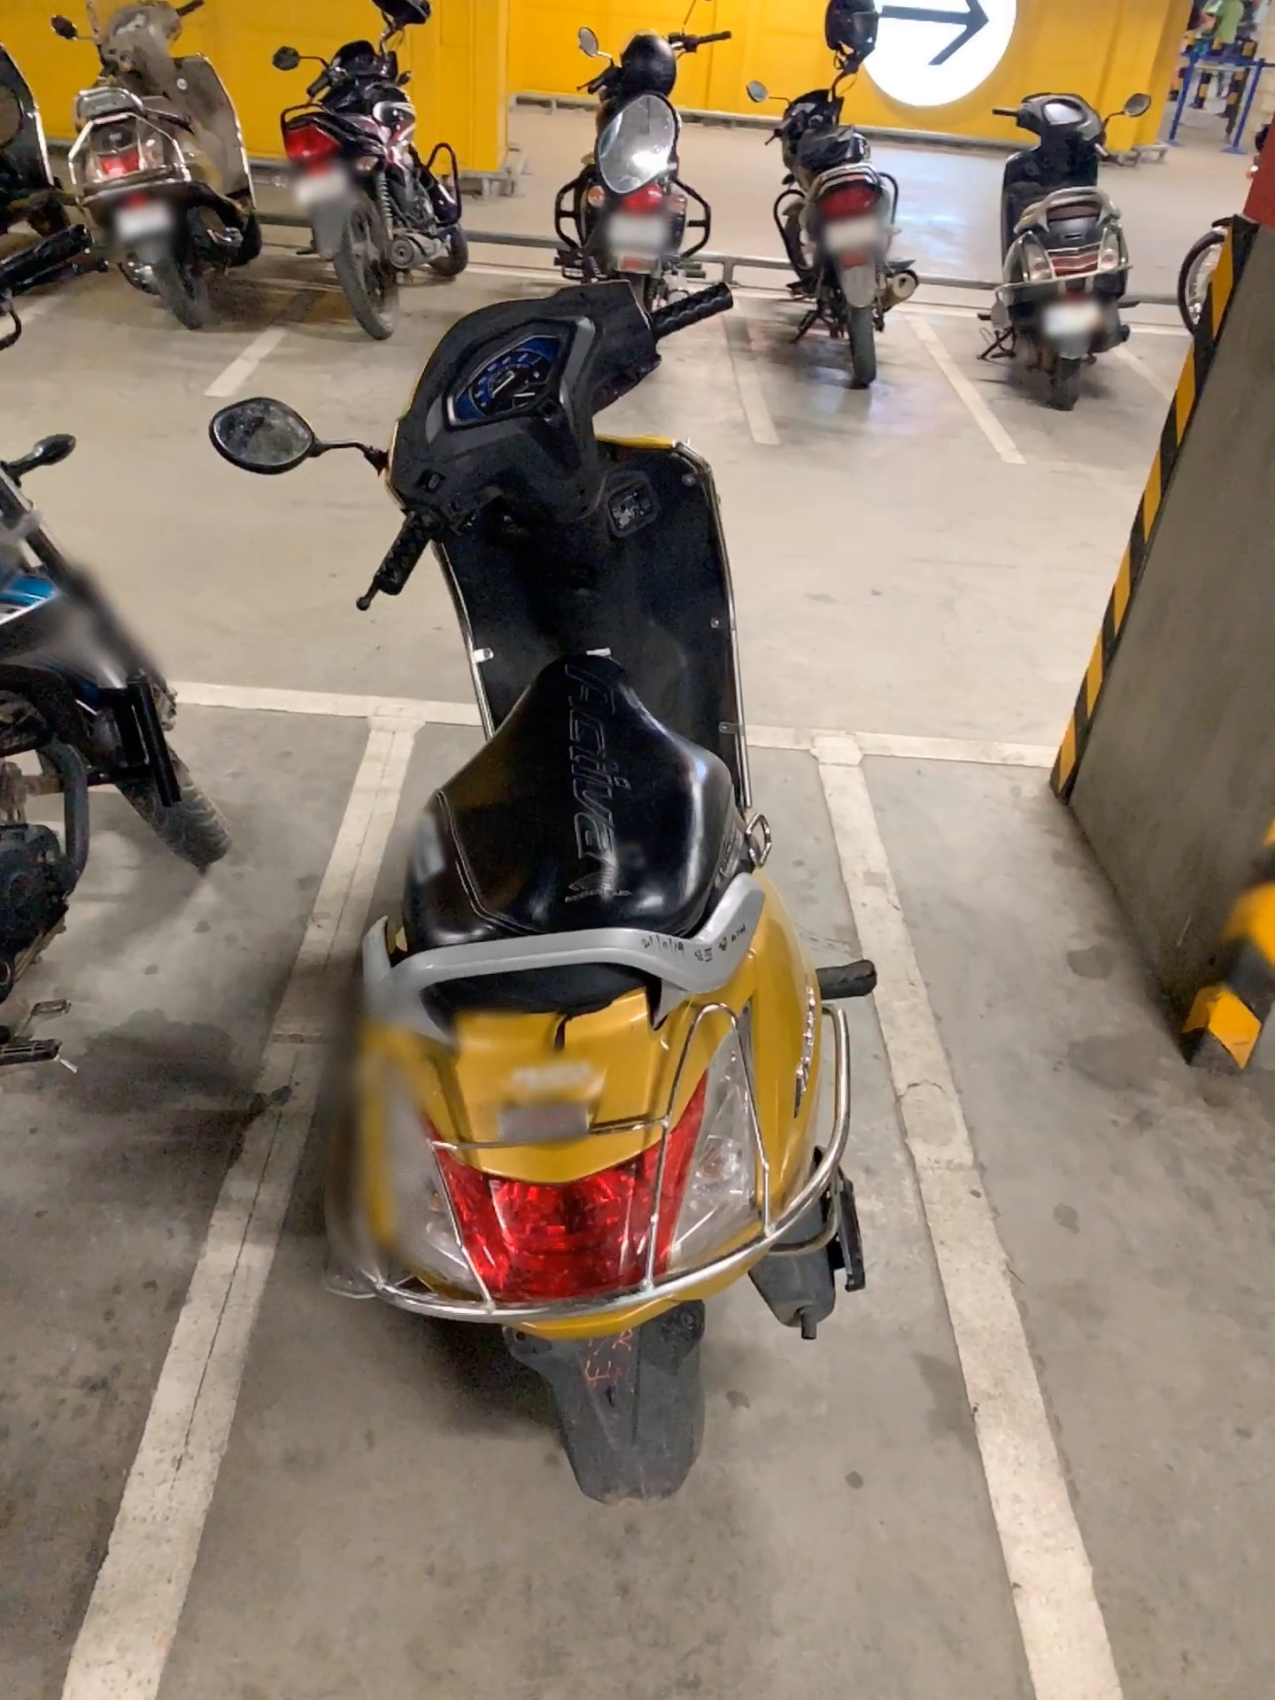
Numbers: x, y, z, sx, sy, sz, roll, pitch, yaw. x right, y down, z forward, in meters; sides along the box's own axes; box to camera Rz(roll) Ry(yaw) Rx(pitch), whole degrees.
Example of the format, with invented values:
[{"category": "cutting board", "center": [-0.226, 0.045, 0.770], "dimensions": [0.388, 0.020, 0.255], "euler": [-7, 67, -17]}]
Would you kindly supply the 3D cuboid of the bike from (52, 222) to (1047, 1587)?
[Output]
[{"category": "bike", "center": [-0.175, -0.112, 1.647], "dimensions": [0.568, 0.993, 1.529], "euler": [0, 34, -9]}]
